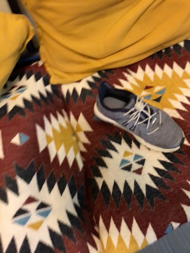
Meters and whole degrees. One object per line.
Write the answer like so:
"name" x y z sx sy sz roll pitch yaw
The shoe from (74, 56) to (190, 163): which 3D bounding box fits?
"shoe" 0.079 -0.036 0.387 0.211 0.074 0.094 29 67 17
